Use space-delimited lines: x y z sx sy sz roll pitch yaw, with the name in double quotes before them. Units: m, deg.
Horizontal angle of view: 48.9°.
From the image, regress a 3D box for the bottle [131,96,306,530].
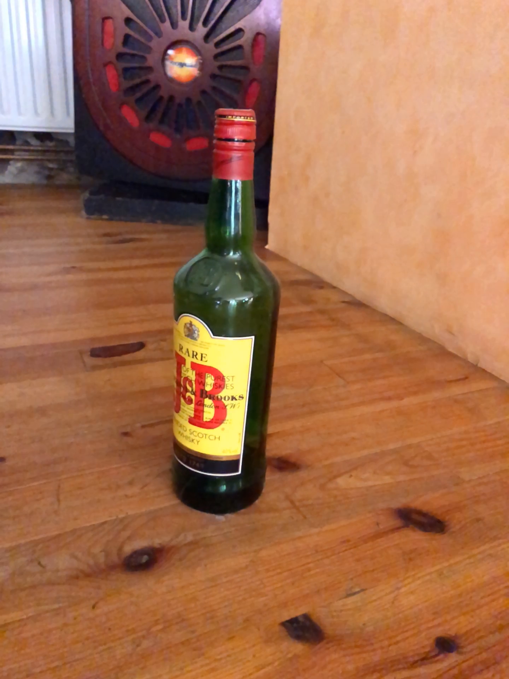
"bottle" -0.033 -0.017 0.445 0.090 0.318 0.080 21 28 36
